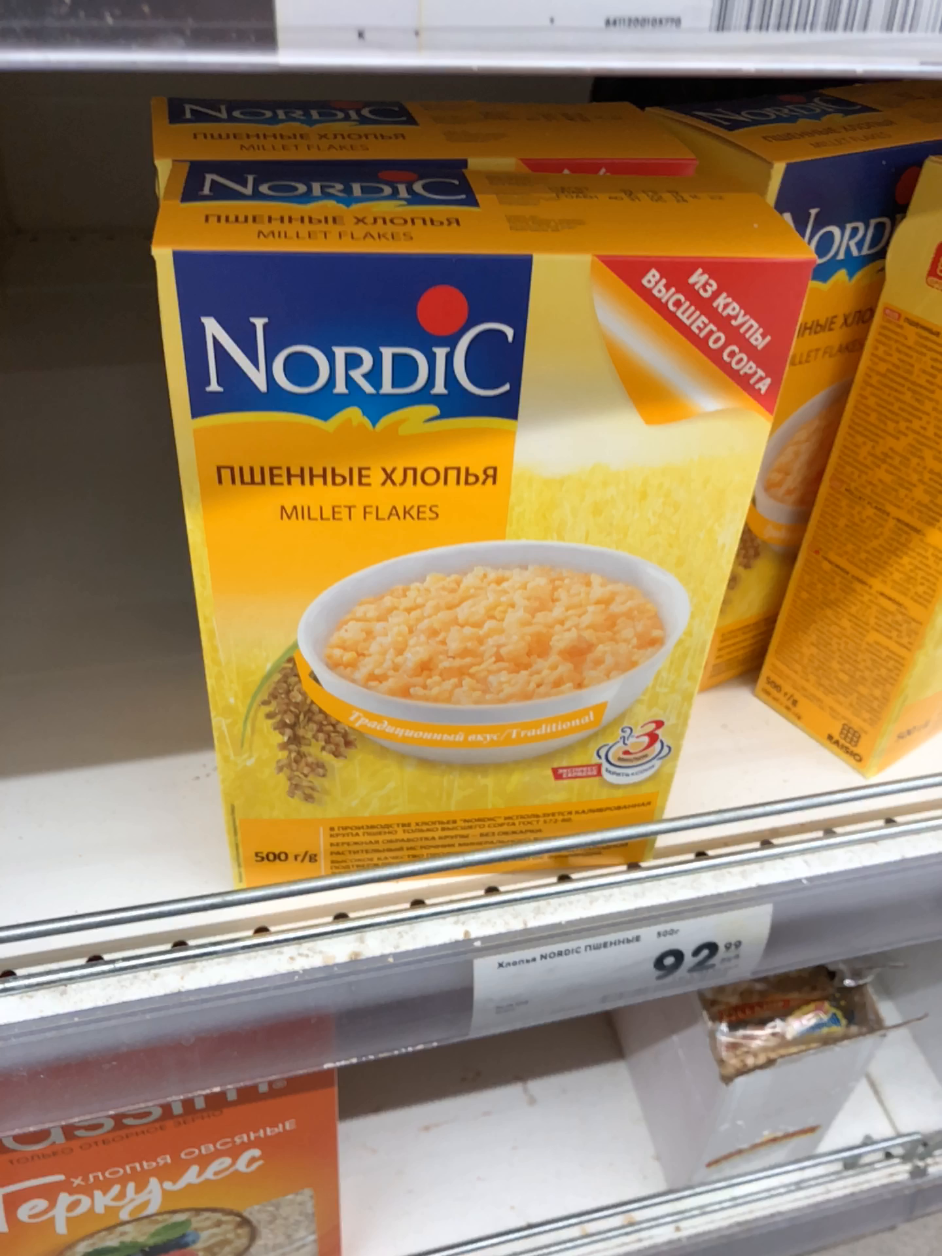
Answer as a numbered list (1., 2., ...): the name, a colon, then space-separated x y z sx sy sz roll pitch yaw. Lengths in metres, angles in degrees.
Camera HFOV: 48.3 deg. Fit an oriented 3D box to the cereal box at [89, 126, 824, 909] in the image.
1. cereal box: -0.009 -0.015 0.288 0.140 0.209 0.060 -2 40 -7
